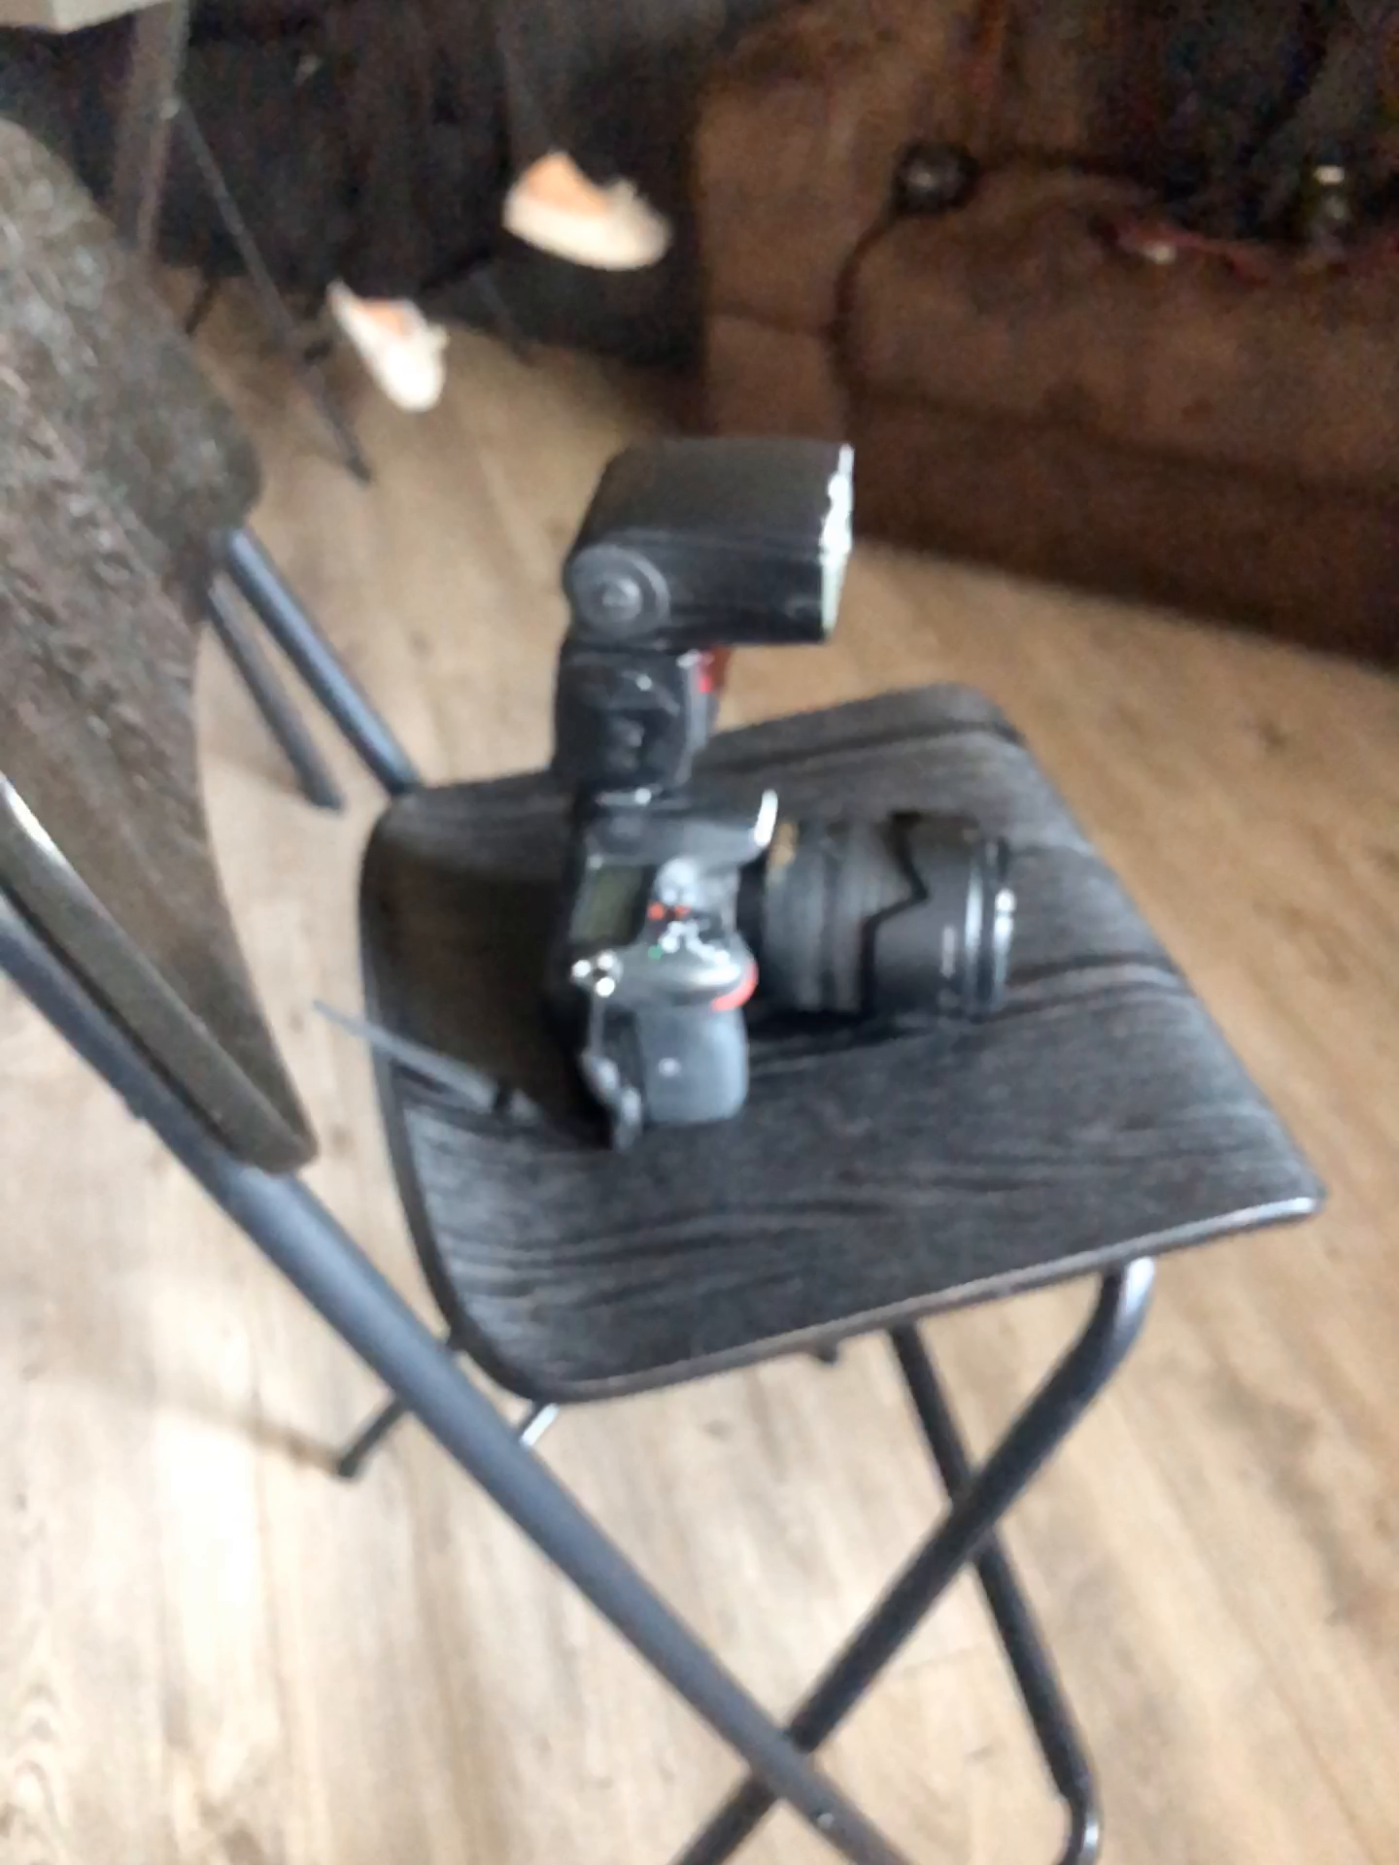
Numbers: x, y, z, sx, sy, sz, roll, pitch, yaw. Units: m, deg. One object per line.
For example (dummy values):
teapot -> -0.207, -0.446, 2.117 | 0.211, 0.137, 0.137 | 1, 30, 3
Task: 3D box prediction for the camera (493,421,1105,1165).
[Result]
camera -> 0.034, -0.042, 0.550 | 0.167, 0.217, 0.126 | 5, 46, 5
